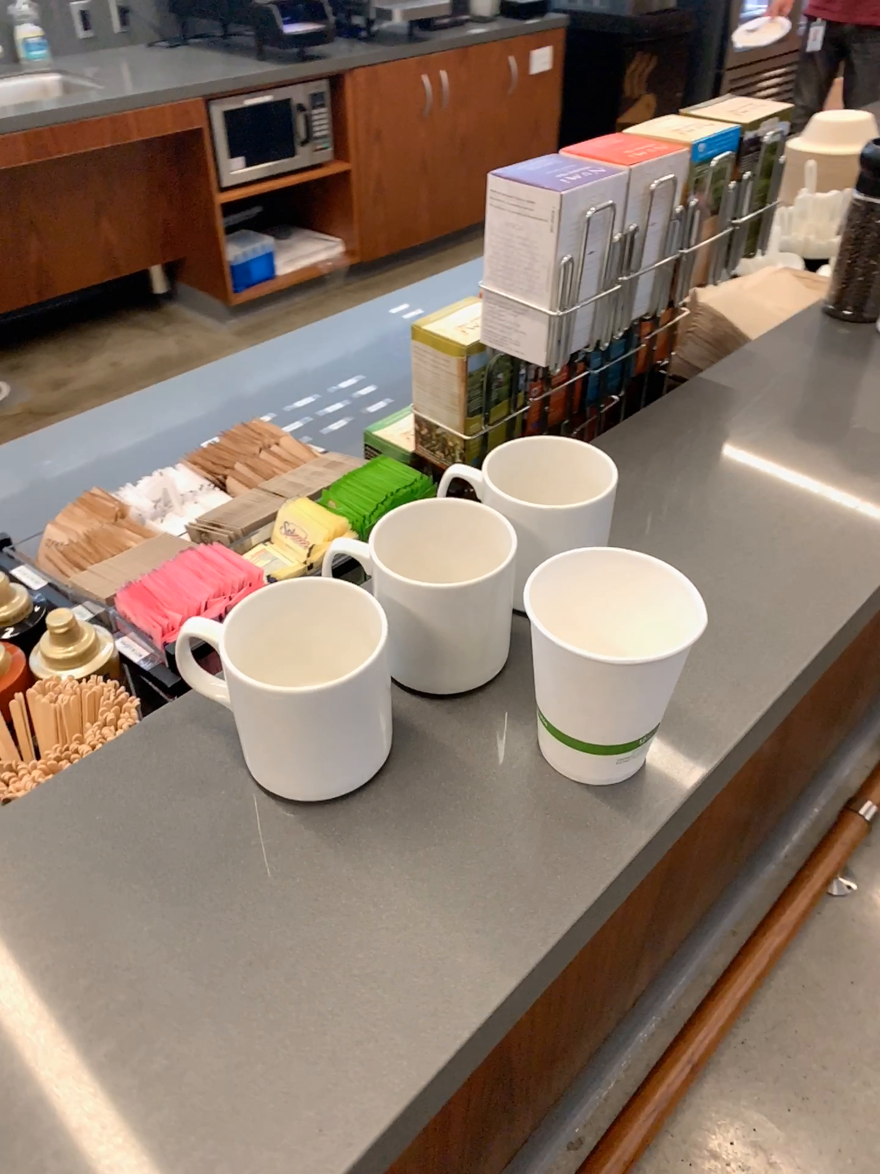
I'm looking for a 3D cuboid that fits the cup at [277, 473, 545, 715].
[{"bbox_3d":[-0.013,0.001,0.542,0.130,0.080,0.101,10,41,12],"label":"cup"}]

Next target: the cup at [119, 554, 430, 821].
[{"bbox_3d":[-0.080,0.050,0.480,0.130,0.080,0.090,9,40,11],"label":"cup"}]

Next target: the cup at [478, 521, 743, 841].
[{"bbox_3d":[0.085,0.047,0.477,0.090,0.109,0.090,0,40,0],"label":"cup"}]

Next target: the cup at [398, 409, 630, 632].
[{"bbox_3d":[0.051,-0.048,0.614,0.130,0.089,0.100,11,41,14],"label":"cup"}]
